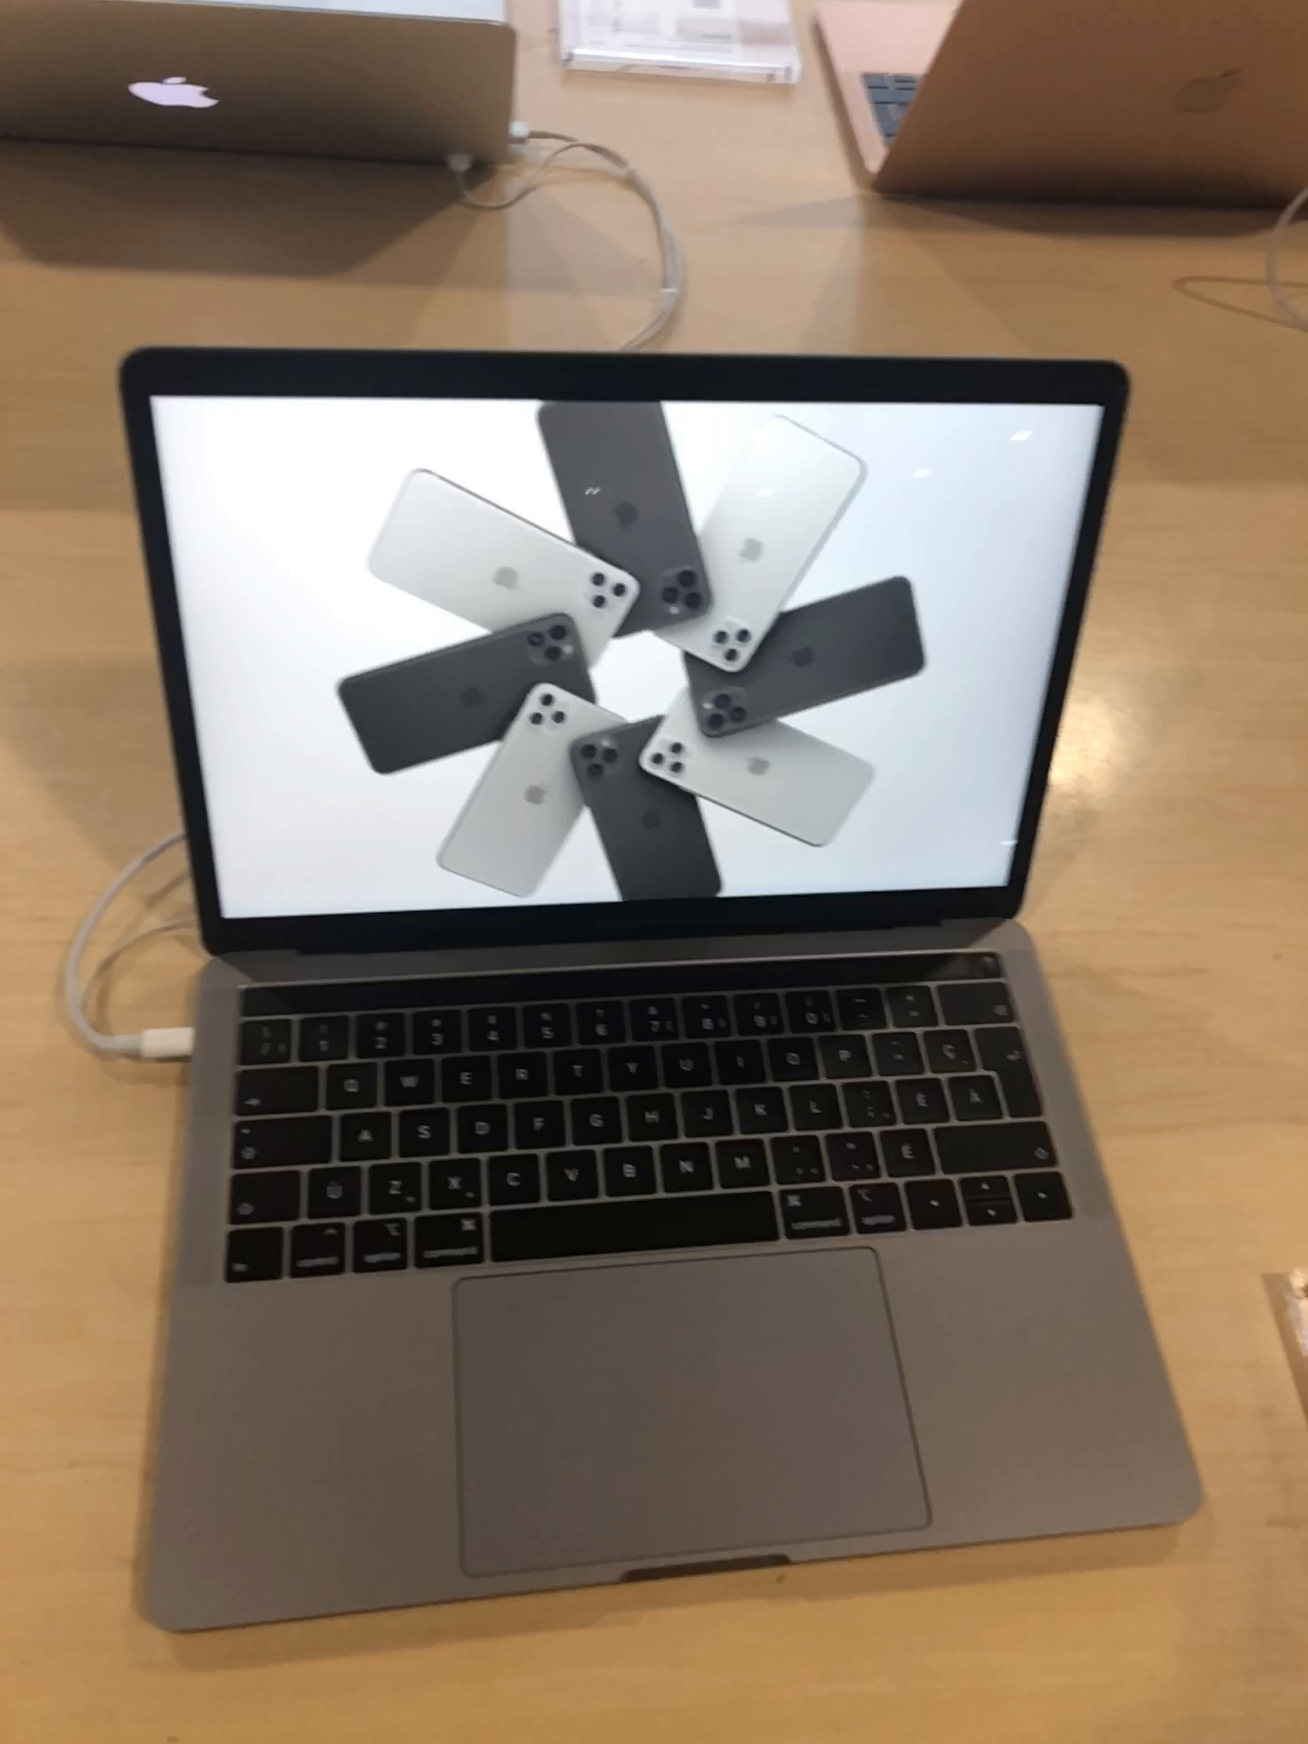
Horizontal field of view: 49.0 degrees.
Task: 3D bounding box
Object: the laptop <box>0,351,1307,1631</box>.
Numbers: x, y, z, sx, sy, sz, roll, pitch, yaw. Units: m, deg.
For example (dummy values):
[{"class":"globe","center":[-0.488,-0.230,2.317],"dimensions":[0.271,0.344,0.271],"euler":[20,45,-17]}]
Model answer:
[{"class":"laptop","center":[0.002,0.024,0.410],"dimensions":[0.296,0.181,0.296],"euler":[-2,55,-9]}]
